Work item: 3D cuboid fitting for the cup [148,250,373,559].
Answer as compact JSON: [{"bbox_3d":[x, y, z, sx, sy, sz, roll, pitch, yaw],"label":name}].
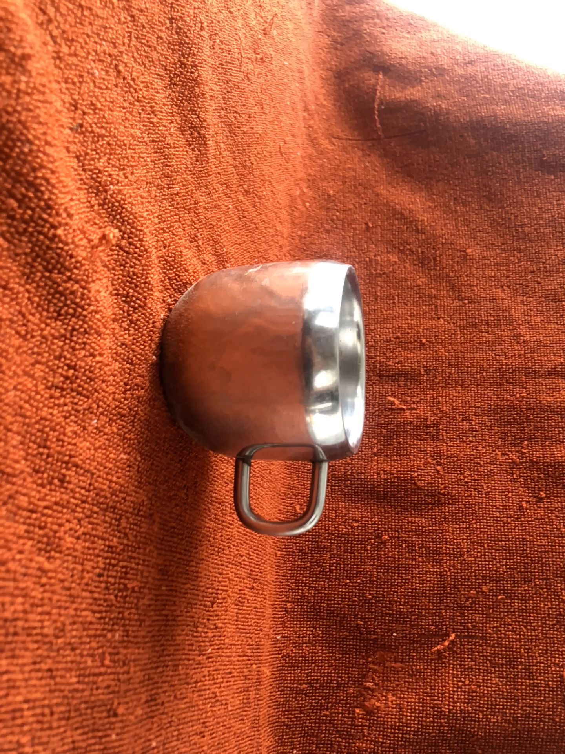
[{"bbox_3d":[-0.004,0.008,0.219,0.060,0.060,0.090,-8,96,-75],"label":"cup"}]
